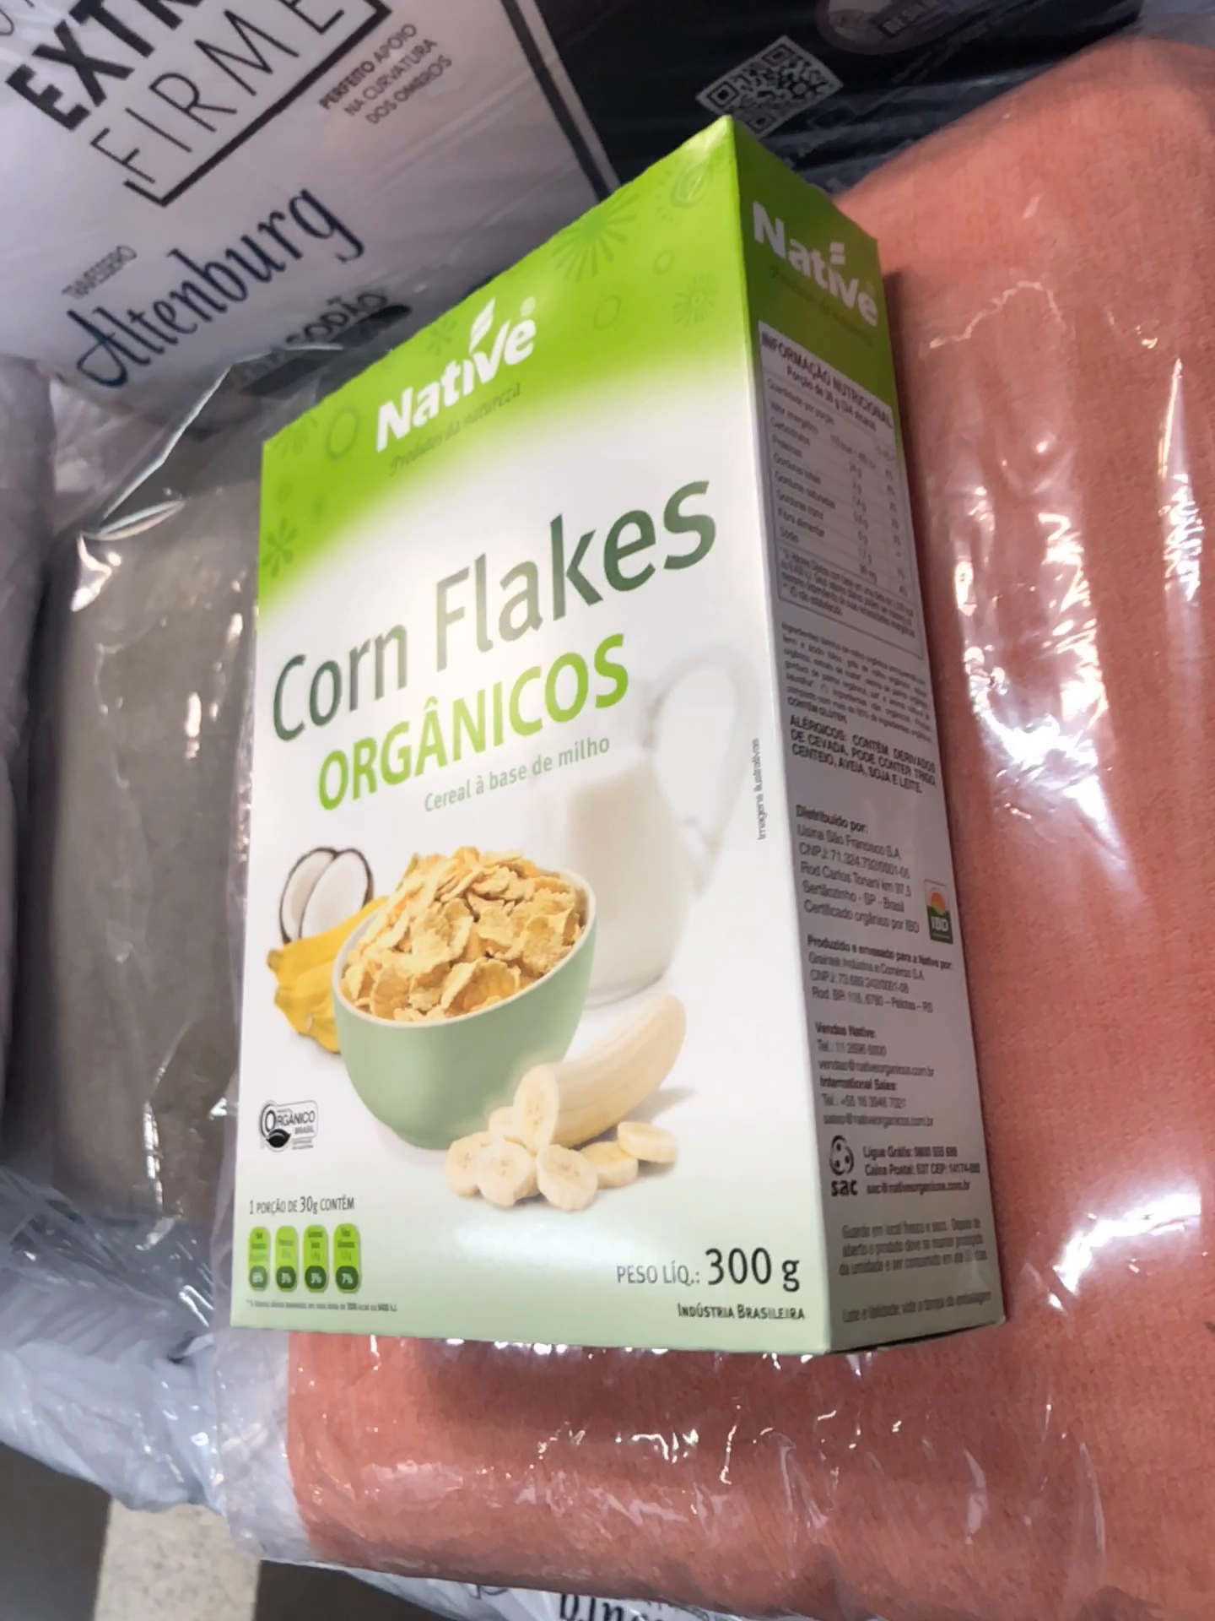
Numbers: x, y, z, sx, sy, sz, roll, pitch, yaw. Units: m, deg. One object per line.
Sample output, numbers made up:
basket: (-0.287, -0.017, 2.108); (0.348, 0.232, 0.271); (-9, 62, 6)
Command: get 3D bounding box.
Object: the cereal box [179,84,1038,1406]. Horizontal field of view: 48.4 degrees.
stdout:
cereal box: (-0.015, -0.003, 0.310); (0.181, 0.060, 0.240); (-16, 68, 39)
